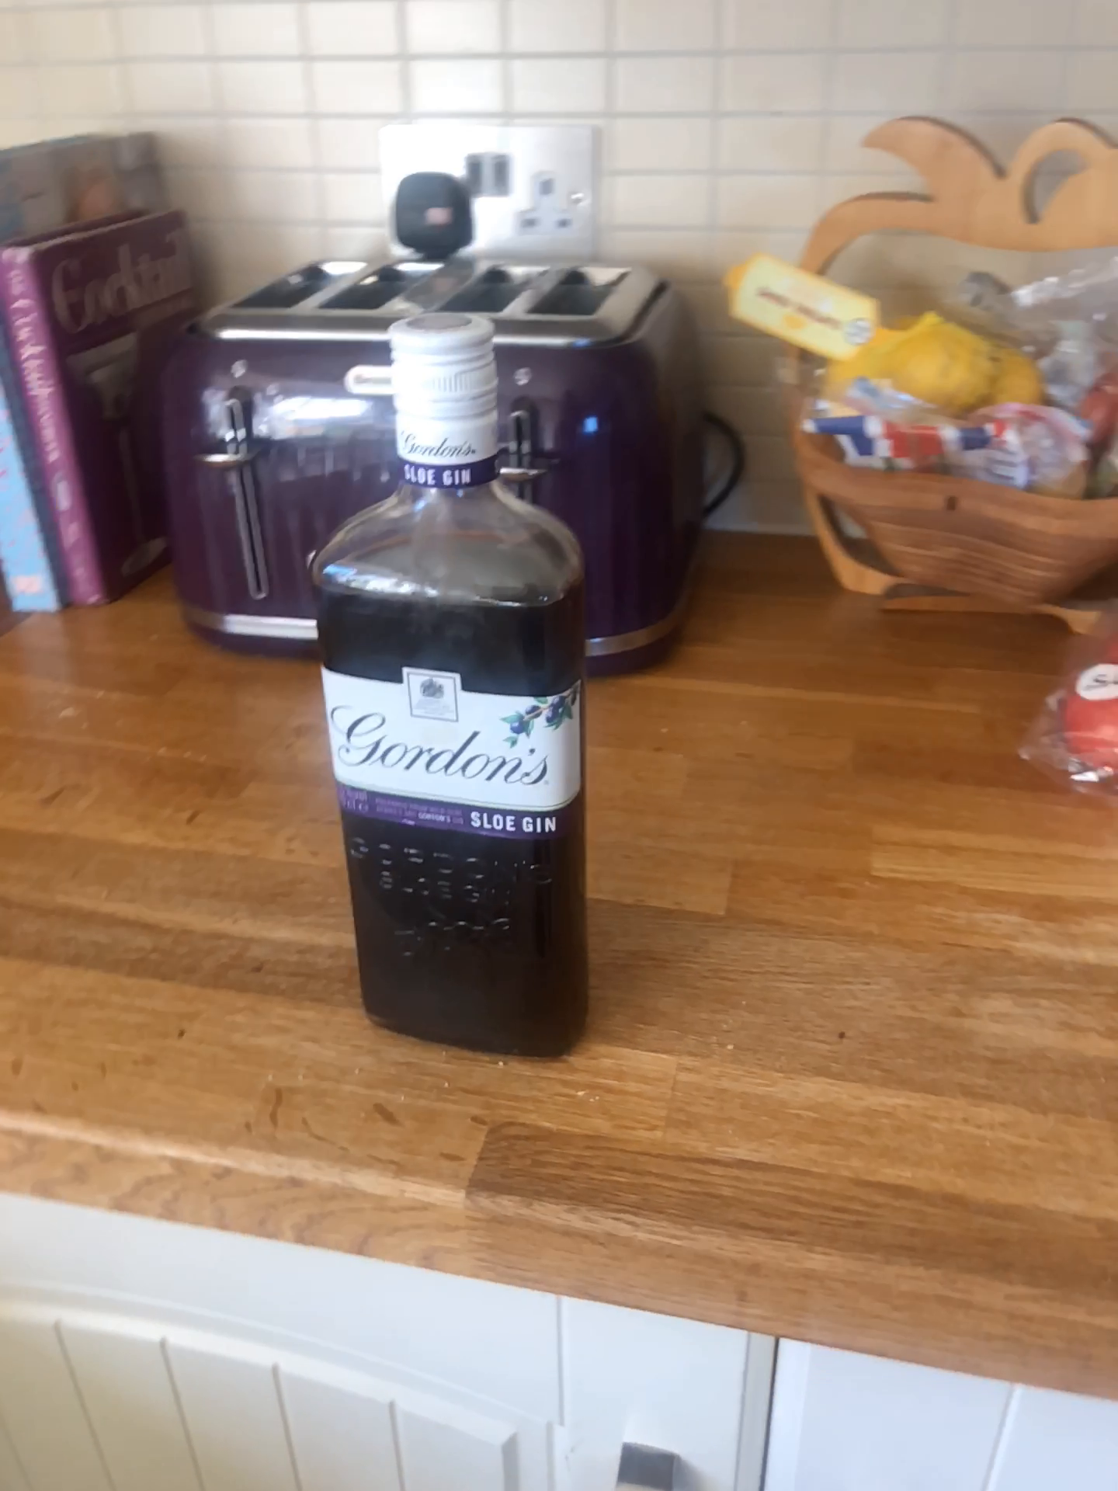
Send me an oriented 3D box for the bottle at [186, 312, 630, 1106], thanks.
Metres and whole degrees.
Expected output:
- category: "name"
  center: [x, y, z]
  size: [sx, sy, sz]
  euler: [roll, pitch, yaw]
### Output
- category: "bottle"
  center: [-0.037, -0.008, 0.406]
  size: [0.100, 0.238, 0.081]
  euler: [8, 31, 16]
